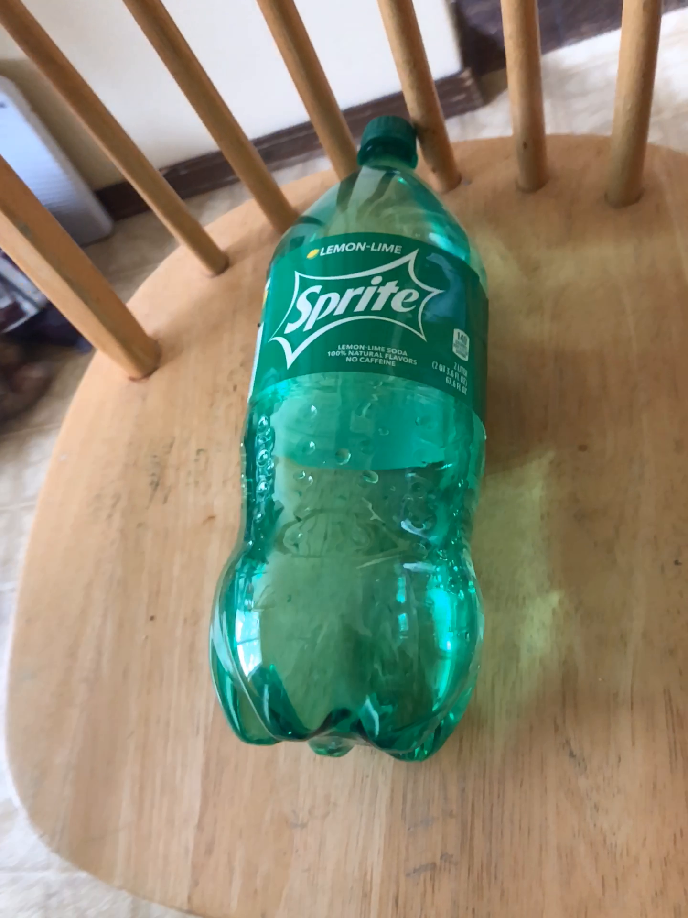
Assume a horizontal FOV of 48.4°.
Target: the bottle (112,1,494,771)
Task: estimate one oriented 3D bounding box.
[{"bbox_3d":[0.004,-0.035,0.325,0.110,0.110,0.300,-1,66,10],"label":"bottle"}]
